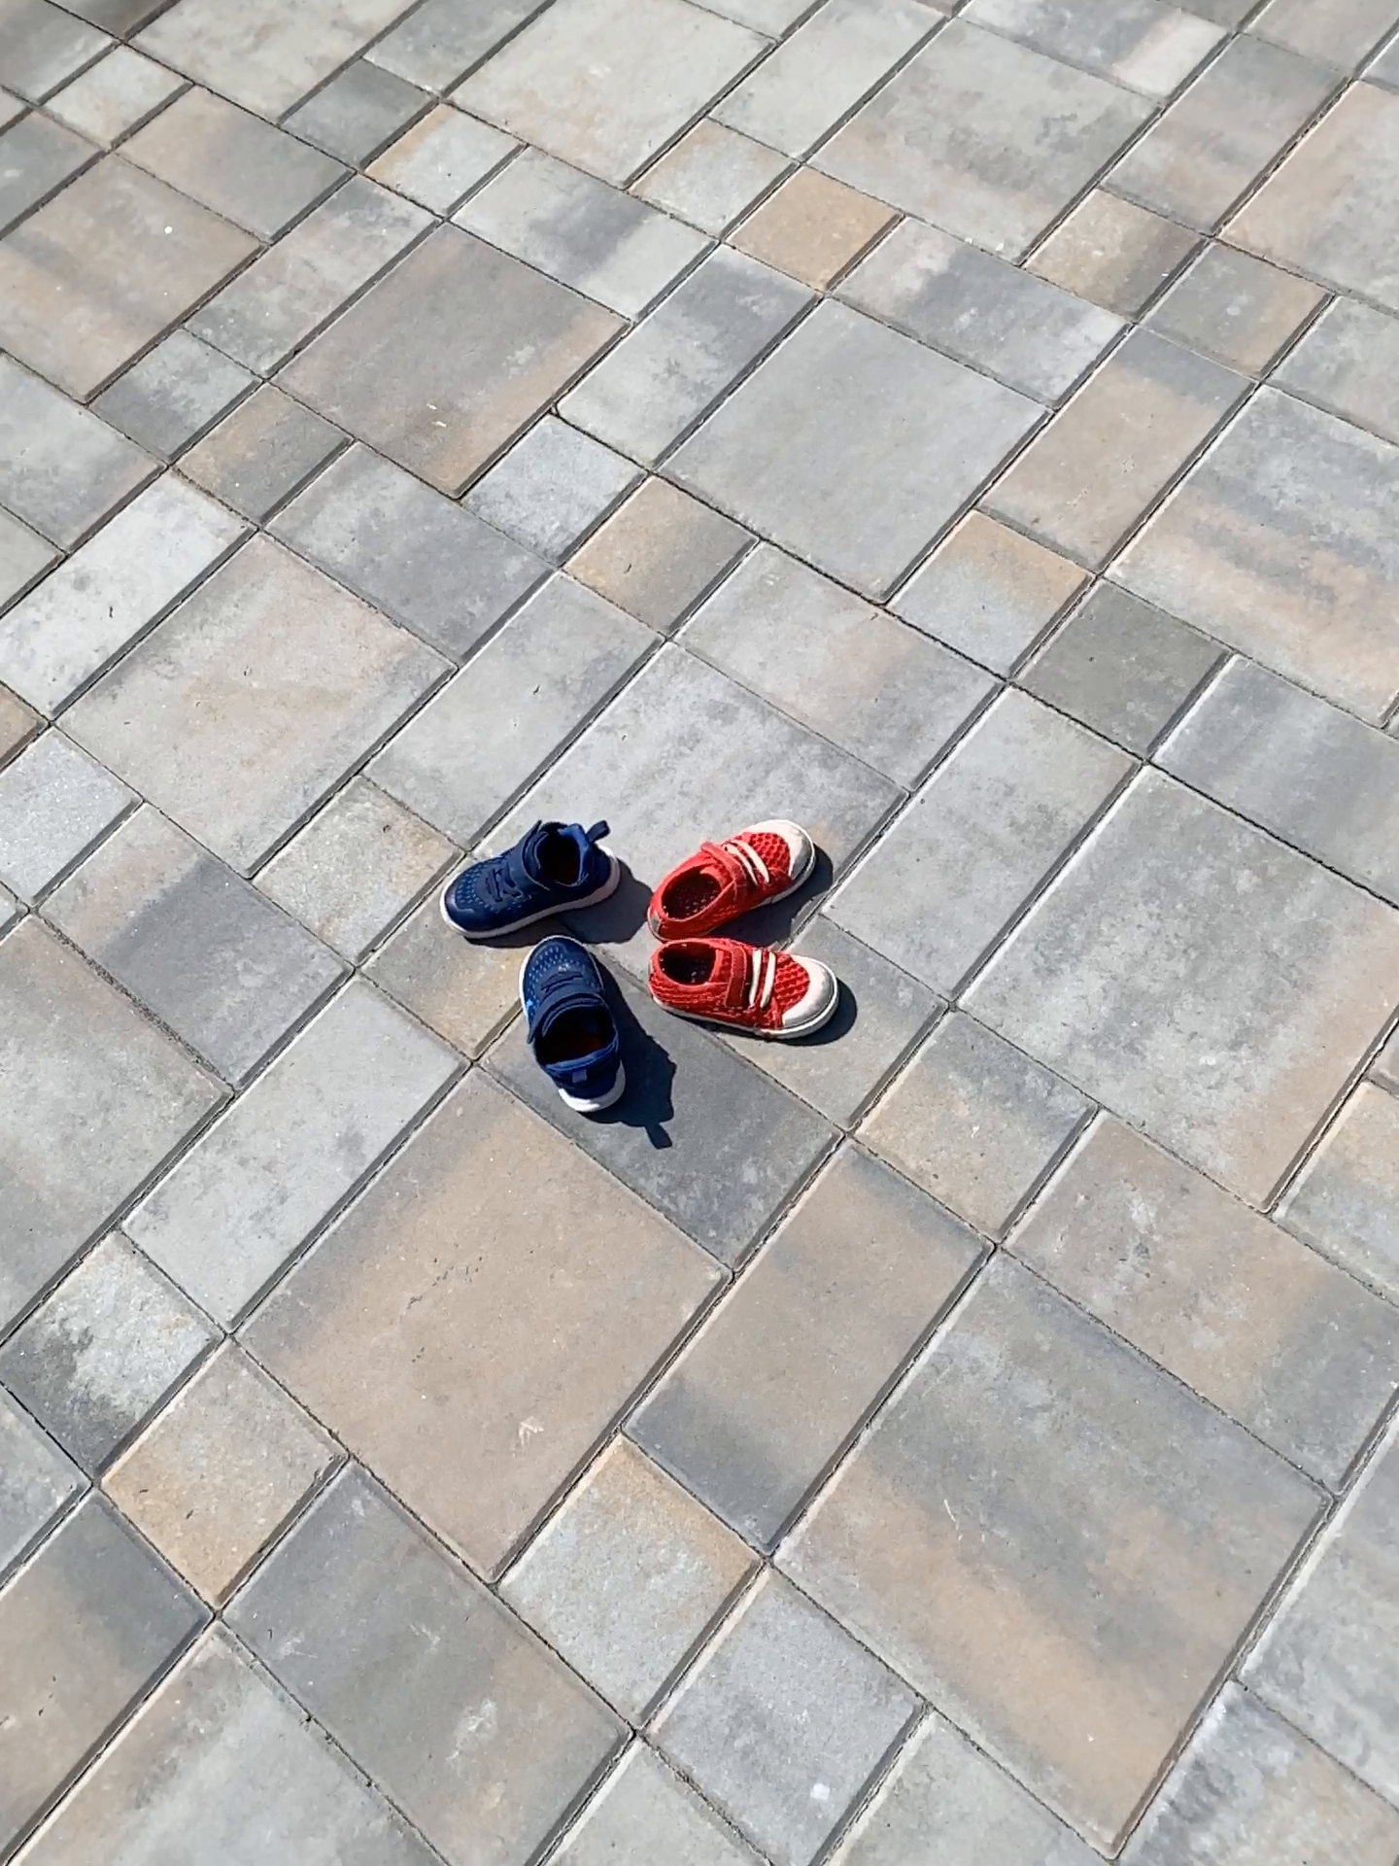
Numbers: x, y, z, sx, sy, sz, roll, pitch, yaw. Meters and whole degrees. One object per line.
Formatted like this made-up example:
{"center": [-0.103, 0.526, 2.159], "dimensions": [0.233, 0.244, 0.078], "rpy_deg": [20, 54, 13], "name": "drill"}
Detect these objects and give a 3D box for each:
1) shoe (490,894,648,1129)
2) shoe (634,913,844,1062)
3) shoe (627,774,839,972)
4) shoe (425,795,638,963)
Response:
{"center": [-0.107, 0.065, 1.176], "dimensions": [0.080, 0.080, 0.160], "rpy_deg": [-17, 66, -2], "name": "shoe"}
{"center": [0.035, 0.046, 1.198], "dimensions": [0.160, 0.070, 0.080], "rpy_deg": [9, 68, 10], "name": "shoe"}
{"center": [0.031, -0.051, 1.225], "dimensions": [0.160, 0.070, 0.080], "rpy_deg": [-31, 67, -8], "name": "shoe"}
{"center": [-0.145, -0.046, 1.244], "dimensions": [0.160, 0.070, 0.080], "rpy_deg": [-18, 66, -2], "name": "shoe"}
